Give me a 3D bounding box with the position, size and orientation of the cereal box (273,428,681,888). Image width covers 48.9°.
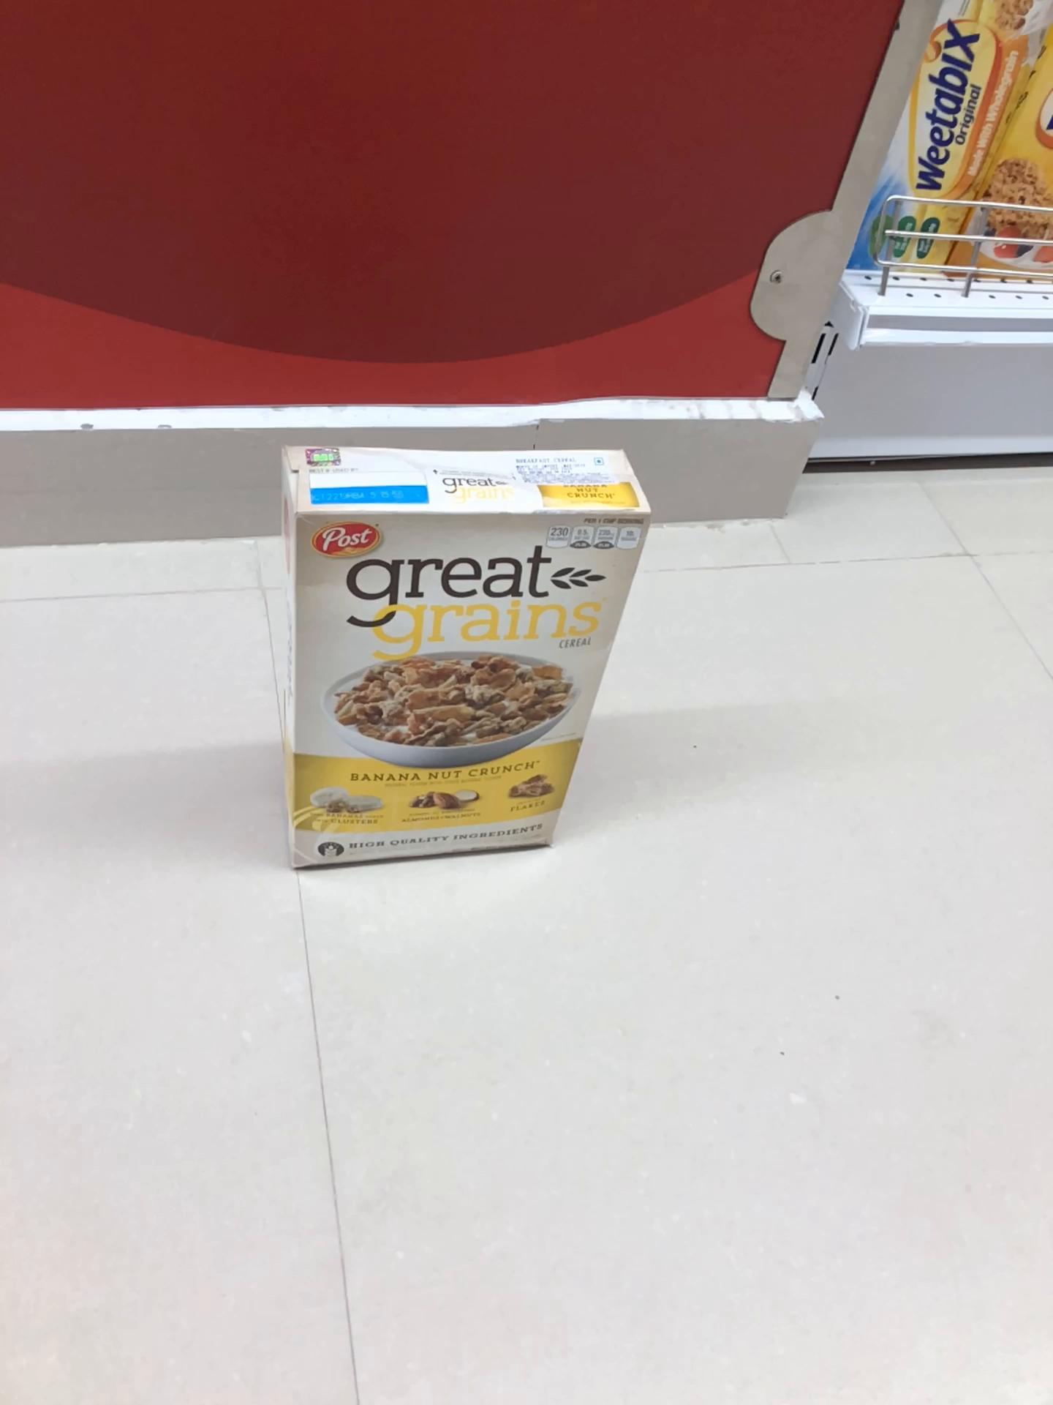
[{"bbox_3d":[-0.041,-0.011,0.580,0.160,0.258,0.060,-3,50,-16],"label":"cereal box"}]
